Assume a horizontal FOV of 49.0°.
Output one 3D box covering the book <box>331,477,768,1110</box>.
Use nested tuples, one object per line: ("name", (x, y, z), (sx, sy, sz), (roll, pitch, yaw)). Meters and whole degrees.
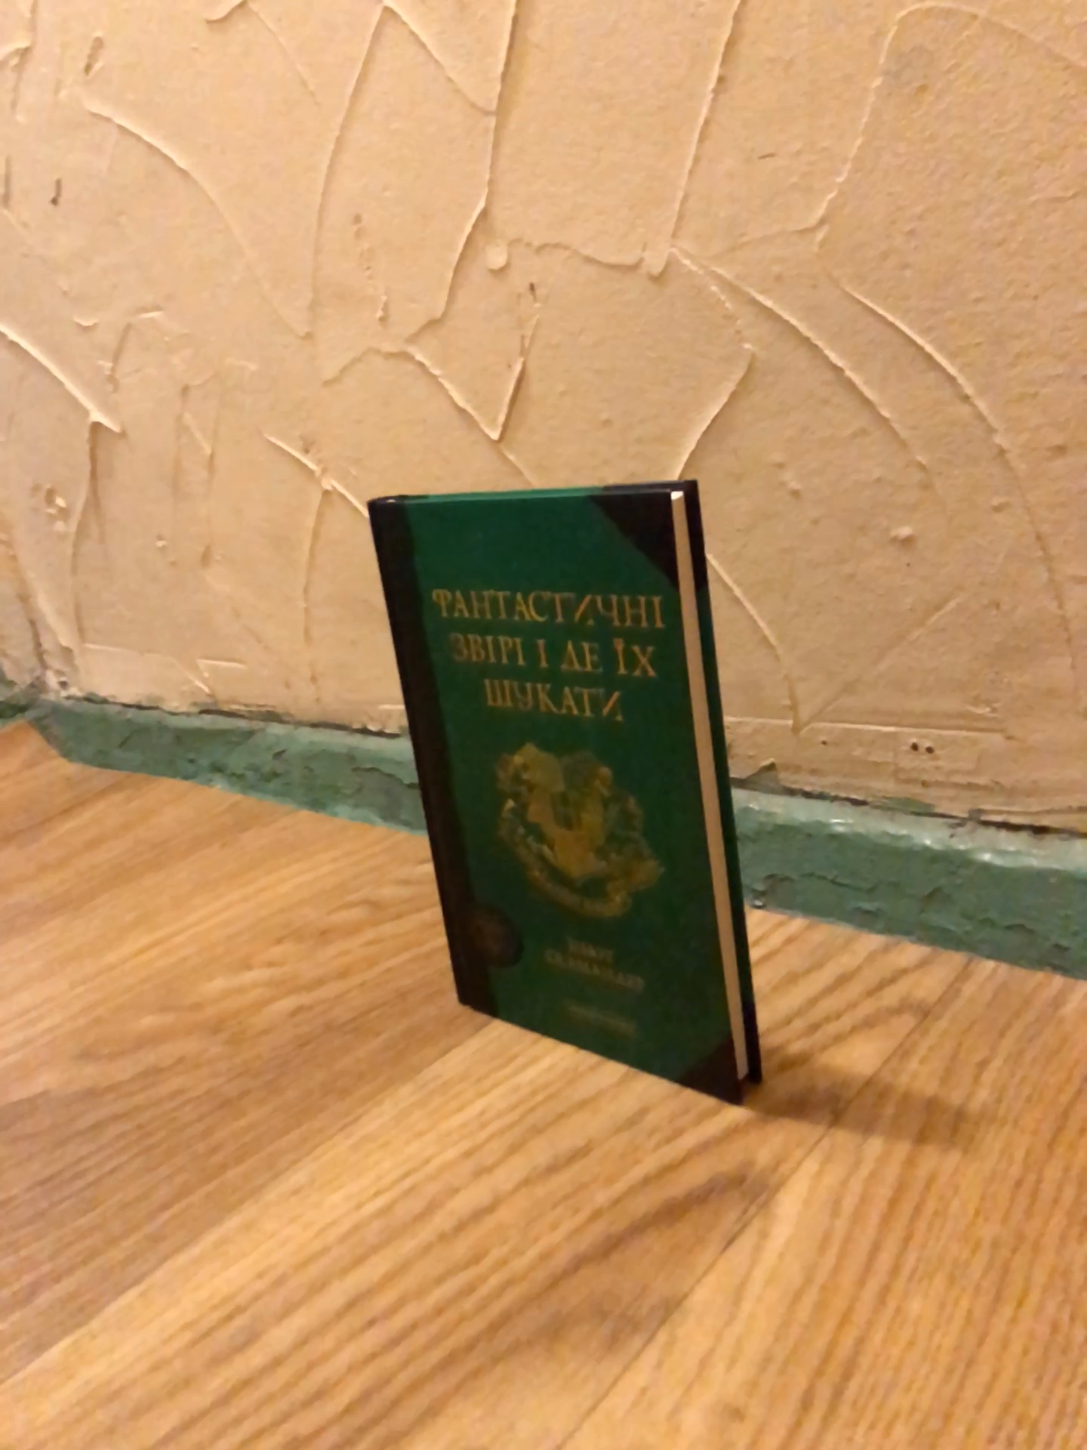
("book", (-0.001, 0.019, 0.413), (0.148, 0.197, 0.024), (7, 21, 43))
